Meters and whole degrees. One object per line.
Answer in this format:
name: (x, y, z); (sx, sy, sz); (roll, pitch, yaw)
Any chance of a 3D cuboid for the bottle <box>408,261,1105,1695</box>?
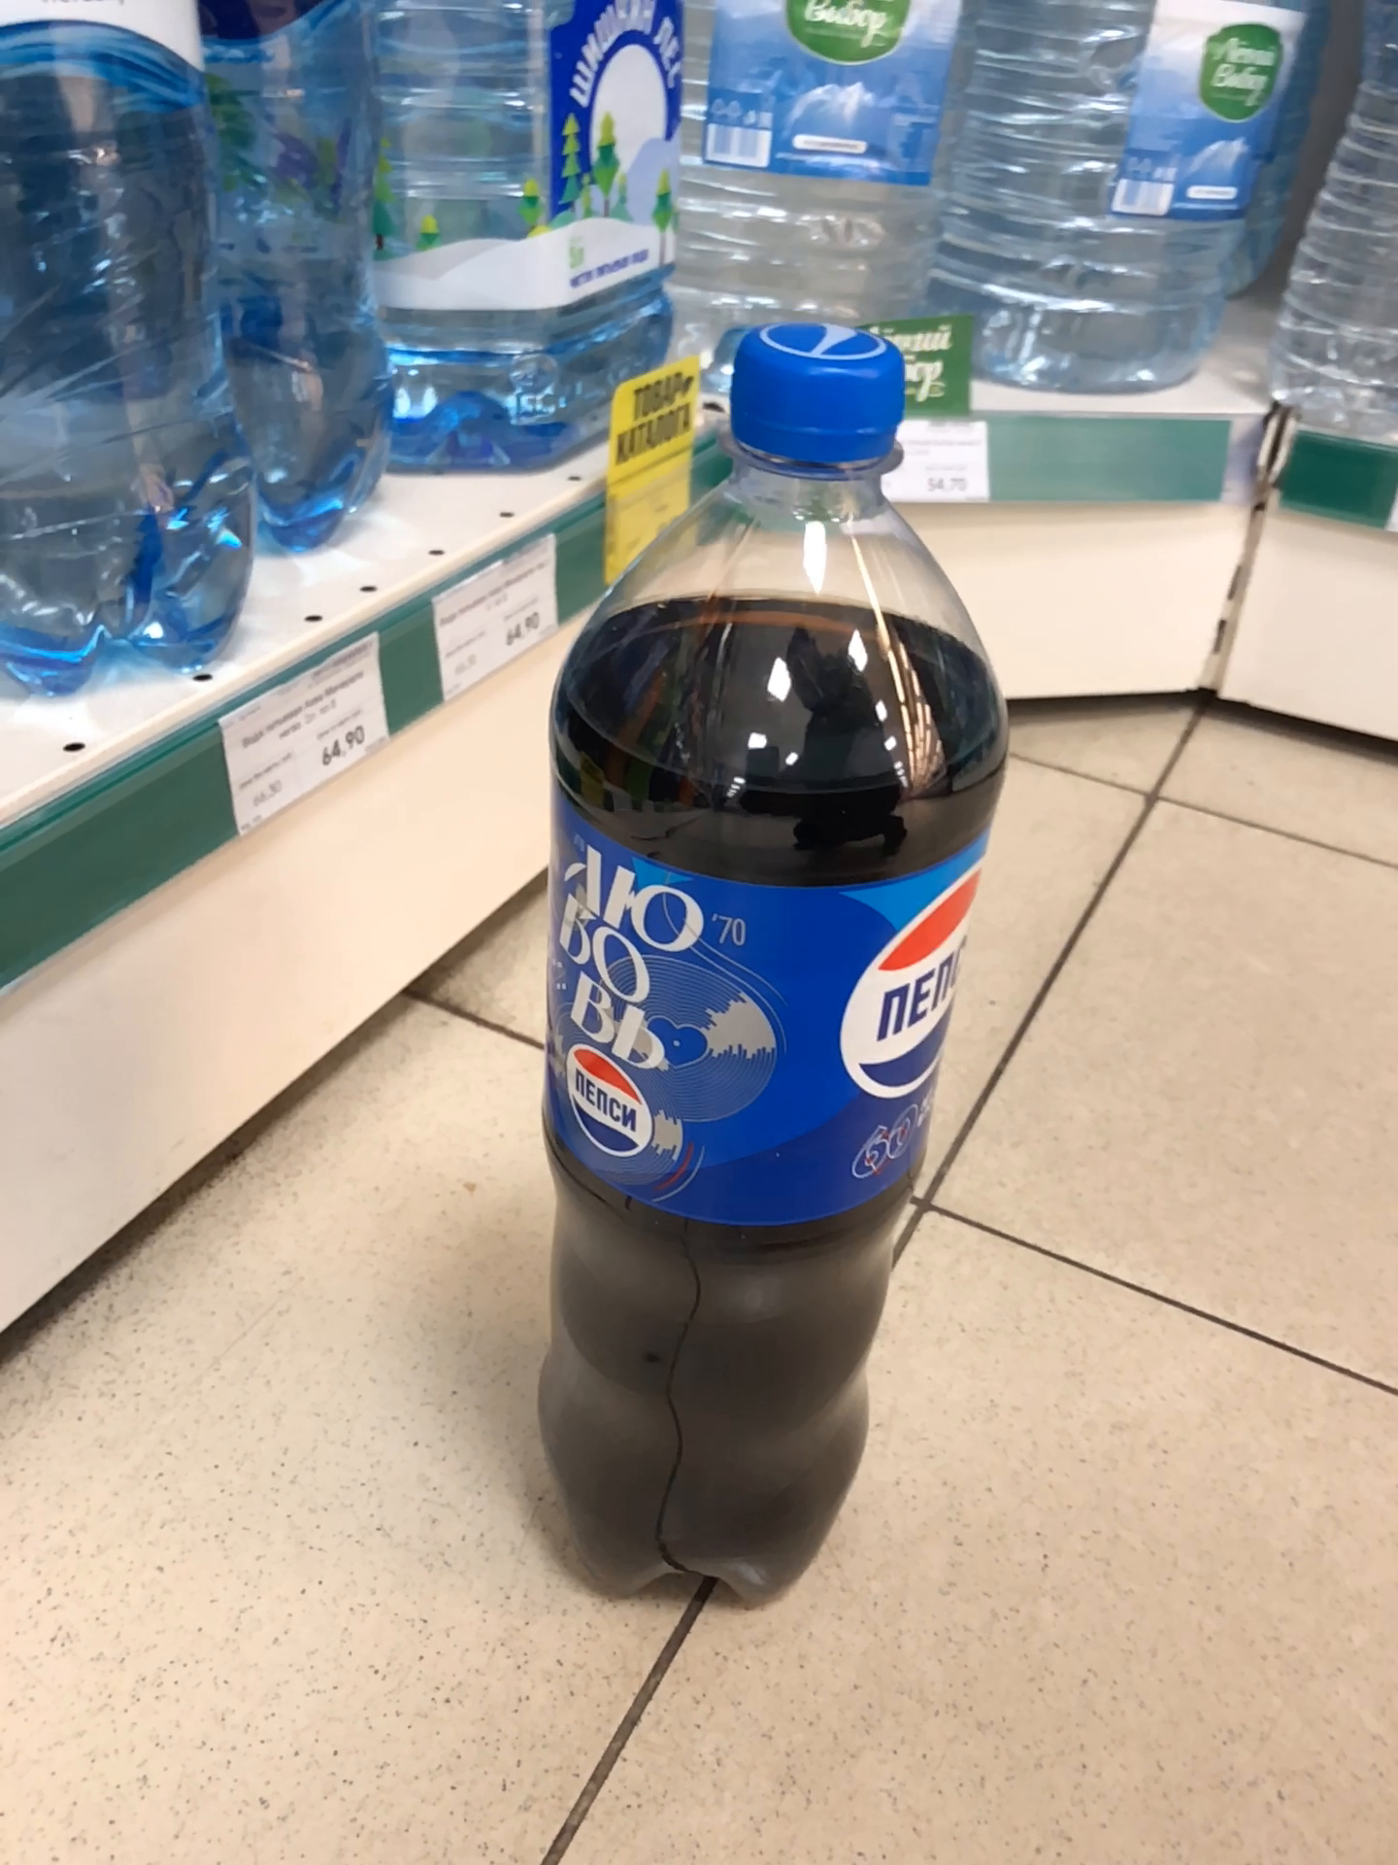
bottle: (0.005, 0.030, 0.352); (0.085, 0.315, 0.089); (2, 35, -2)
